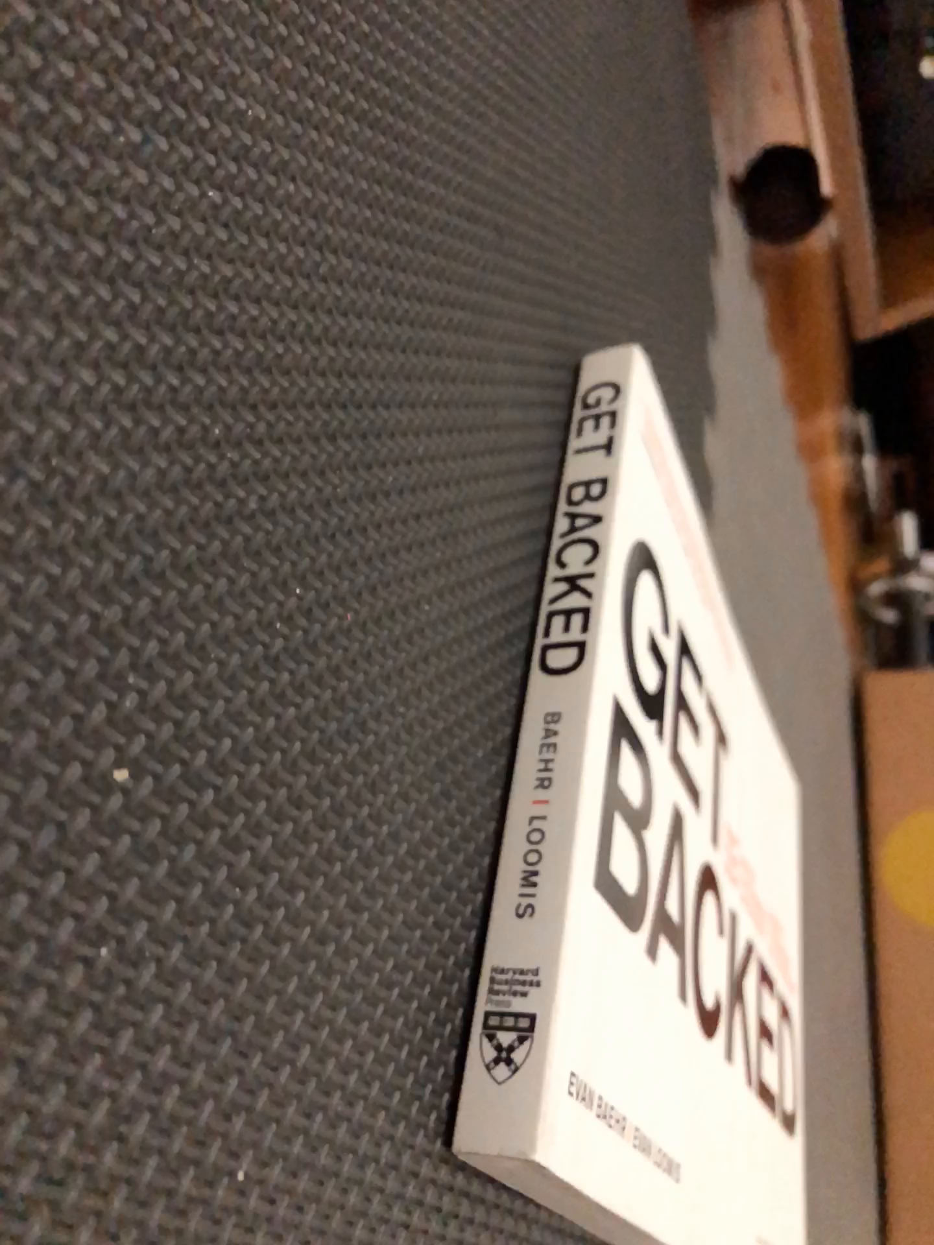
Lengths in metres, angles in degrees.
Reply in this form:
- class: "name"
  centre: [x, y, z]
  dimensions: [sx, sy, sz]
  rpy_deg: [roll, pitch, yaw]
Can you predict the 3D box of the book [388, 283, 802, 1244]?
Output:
- class: "book"
  centre: [0.066, 0.076, 0.306]
  dimensions: [0.261, 0.020, 0.211]
  rpy_deg: [56, 36, -46]
